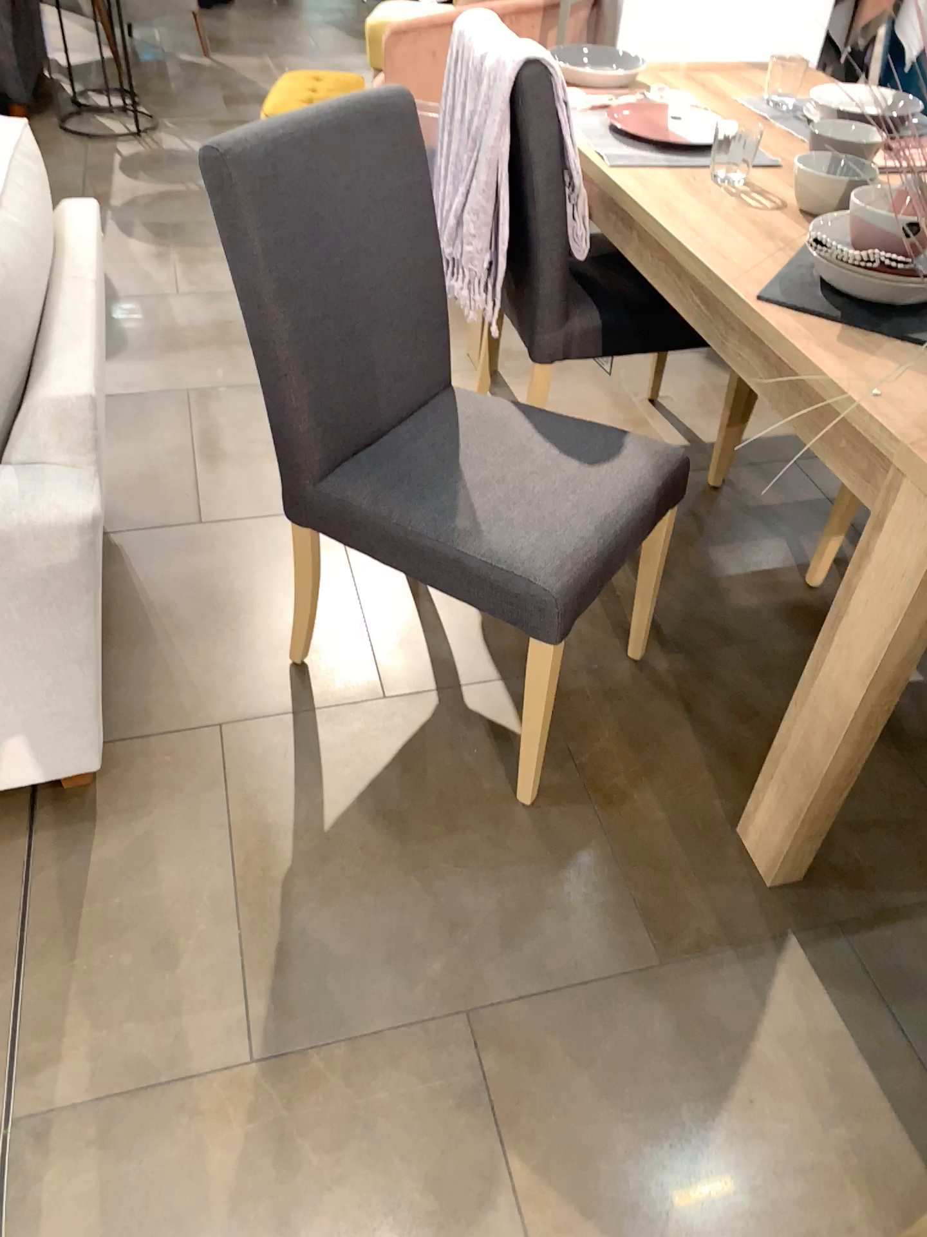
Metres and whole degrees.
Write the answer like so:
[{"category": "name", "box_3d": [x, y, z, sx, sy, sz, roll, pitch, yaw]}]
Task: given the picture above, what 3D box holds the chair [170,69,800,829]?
[{"category": "chair", "box_3d": [0.012, -0.261, 1.475, 0.616, 0.889, 0.509, 28, 47, 23]}]
